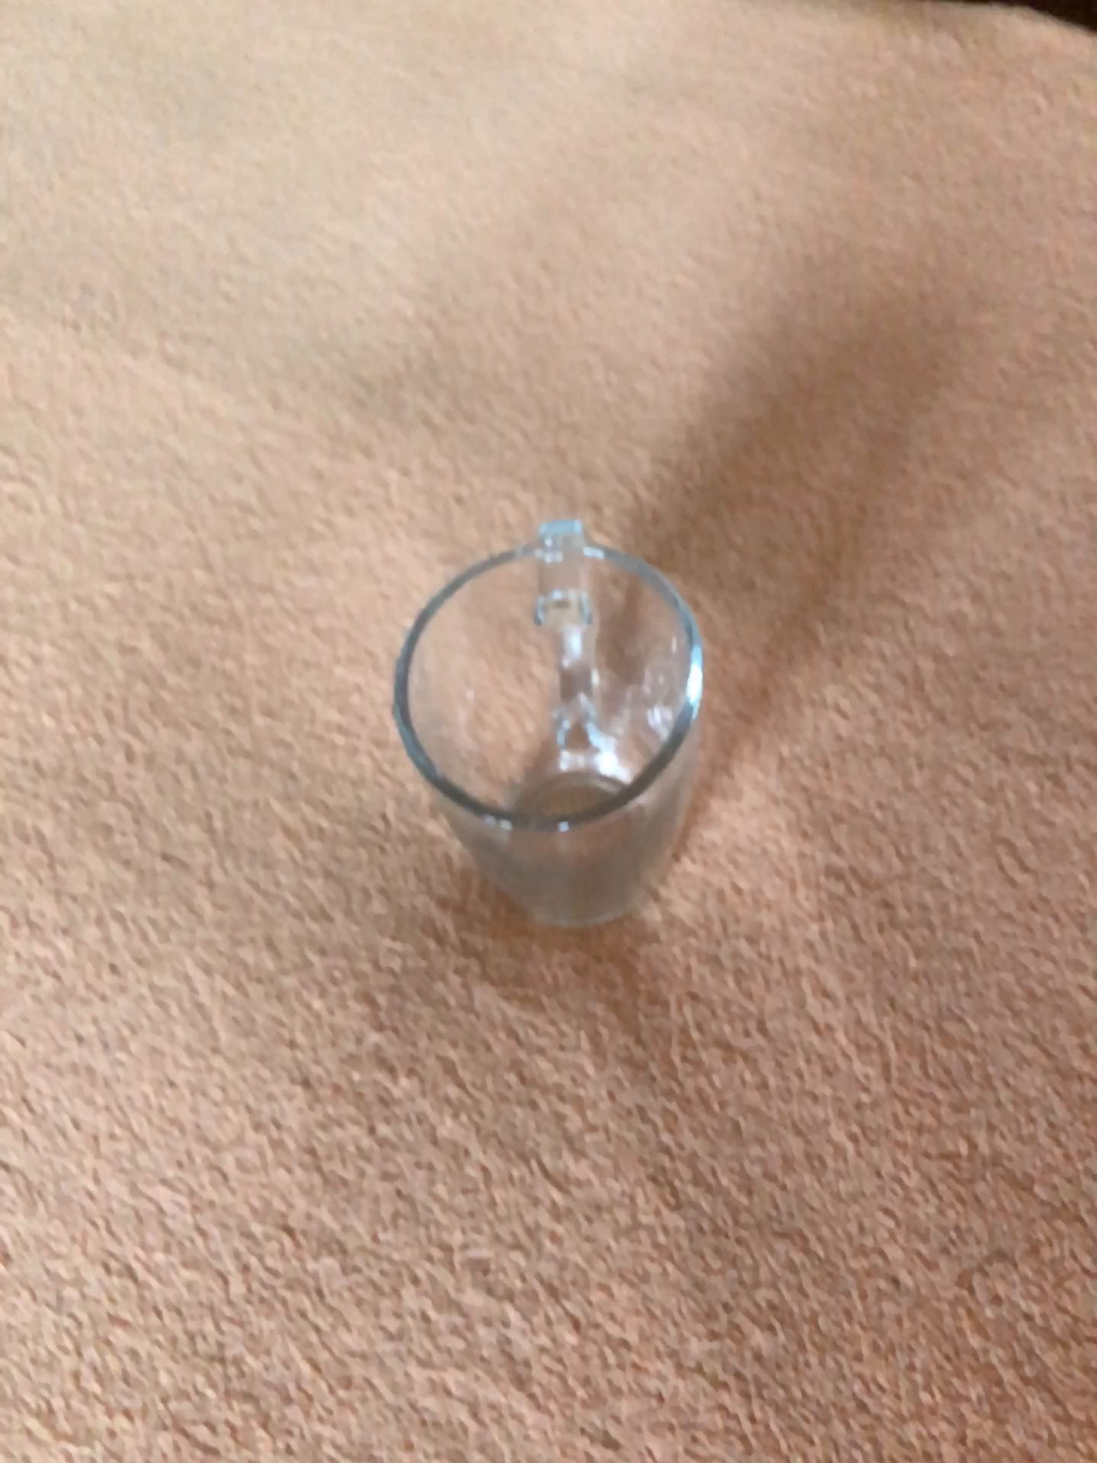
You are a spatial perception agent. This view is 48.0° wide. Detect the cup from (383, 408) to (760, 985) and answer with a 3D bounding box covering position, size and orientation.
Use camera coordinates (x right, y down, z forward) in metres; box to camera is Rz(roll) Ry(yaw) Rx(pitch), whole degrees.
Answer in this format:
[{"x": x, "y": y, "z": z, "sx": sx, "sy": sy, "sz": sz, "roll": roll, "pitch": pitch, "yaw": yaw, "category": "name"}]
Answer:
[{"x": 0.007, "y": -0.004, "z": 0.291, "sx": 0.070, "sy": 0.090, "sz": 0.100, "roll": -4, "pitch": 62, "yaw": 5, "category": "cup"}]
